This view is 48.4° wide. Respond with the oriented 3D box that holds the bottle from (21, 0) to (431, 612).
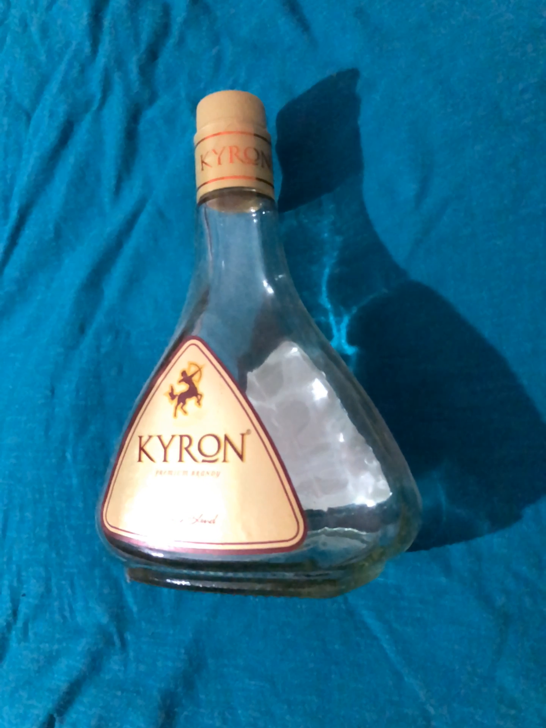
[{"bbox_3d":[-0.020,-0.018,0.219,0.120,0.060,0.180,-7,85,27],"label":"bottle"}]
